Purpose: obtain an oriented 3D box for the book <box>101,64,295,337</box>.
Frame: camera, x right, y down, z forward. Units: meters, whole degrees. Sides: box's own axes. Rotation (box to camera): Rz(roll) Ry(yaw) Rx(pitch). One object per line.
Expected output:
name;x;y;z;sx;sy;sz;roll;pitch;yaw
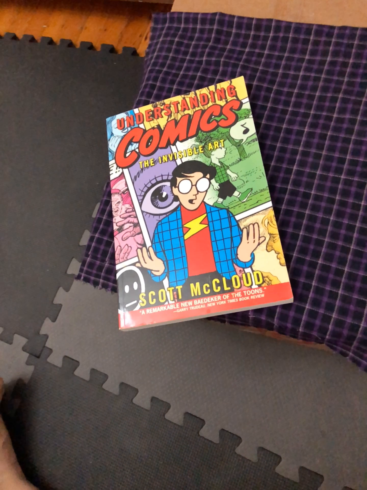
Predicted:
book;0.001;-0.054;0.425;0.170;0.020;0.271;-12;68;12
